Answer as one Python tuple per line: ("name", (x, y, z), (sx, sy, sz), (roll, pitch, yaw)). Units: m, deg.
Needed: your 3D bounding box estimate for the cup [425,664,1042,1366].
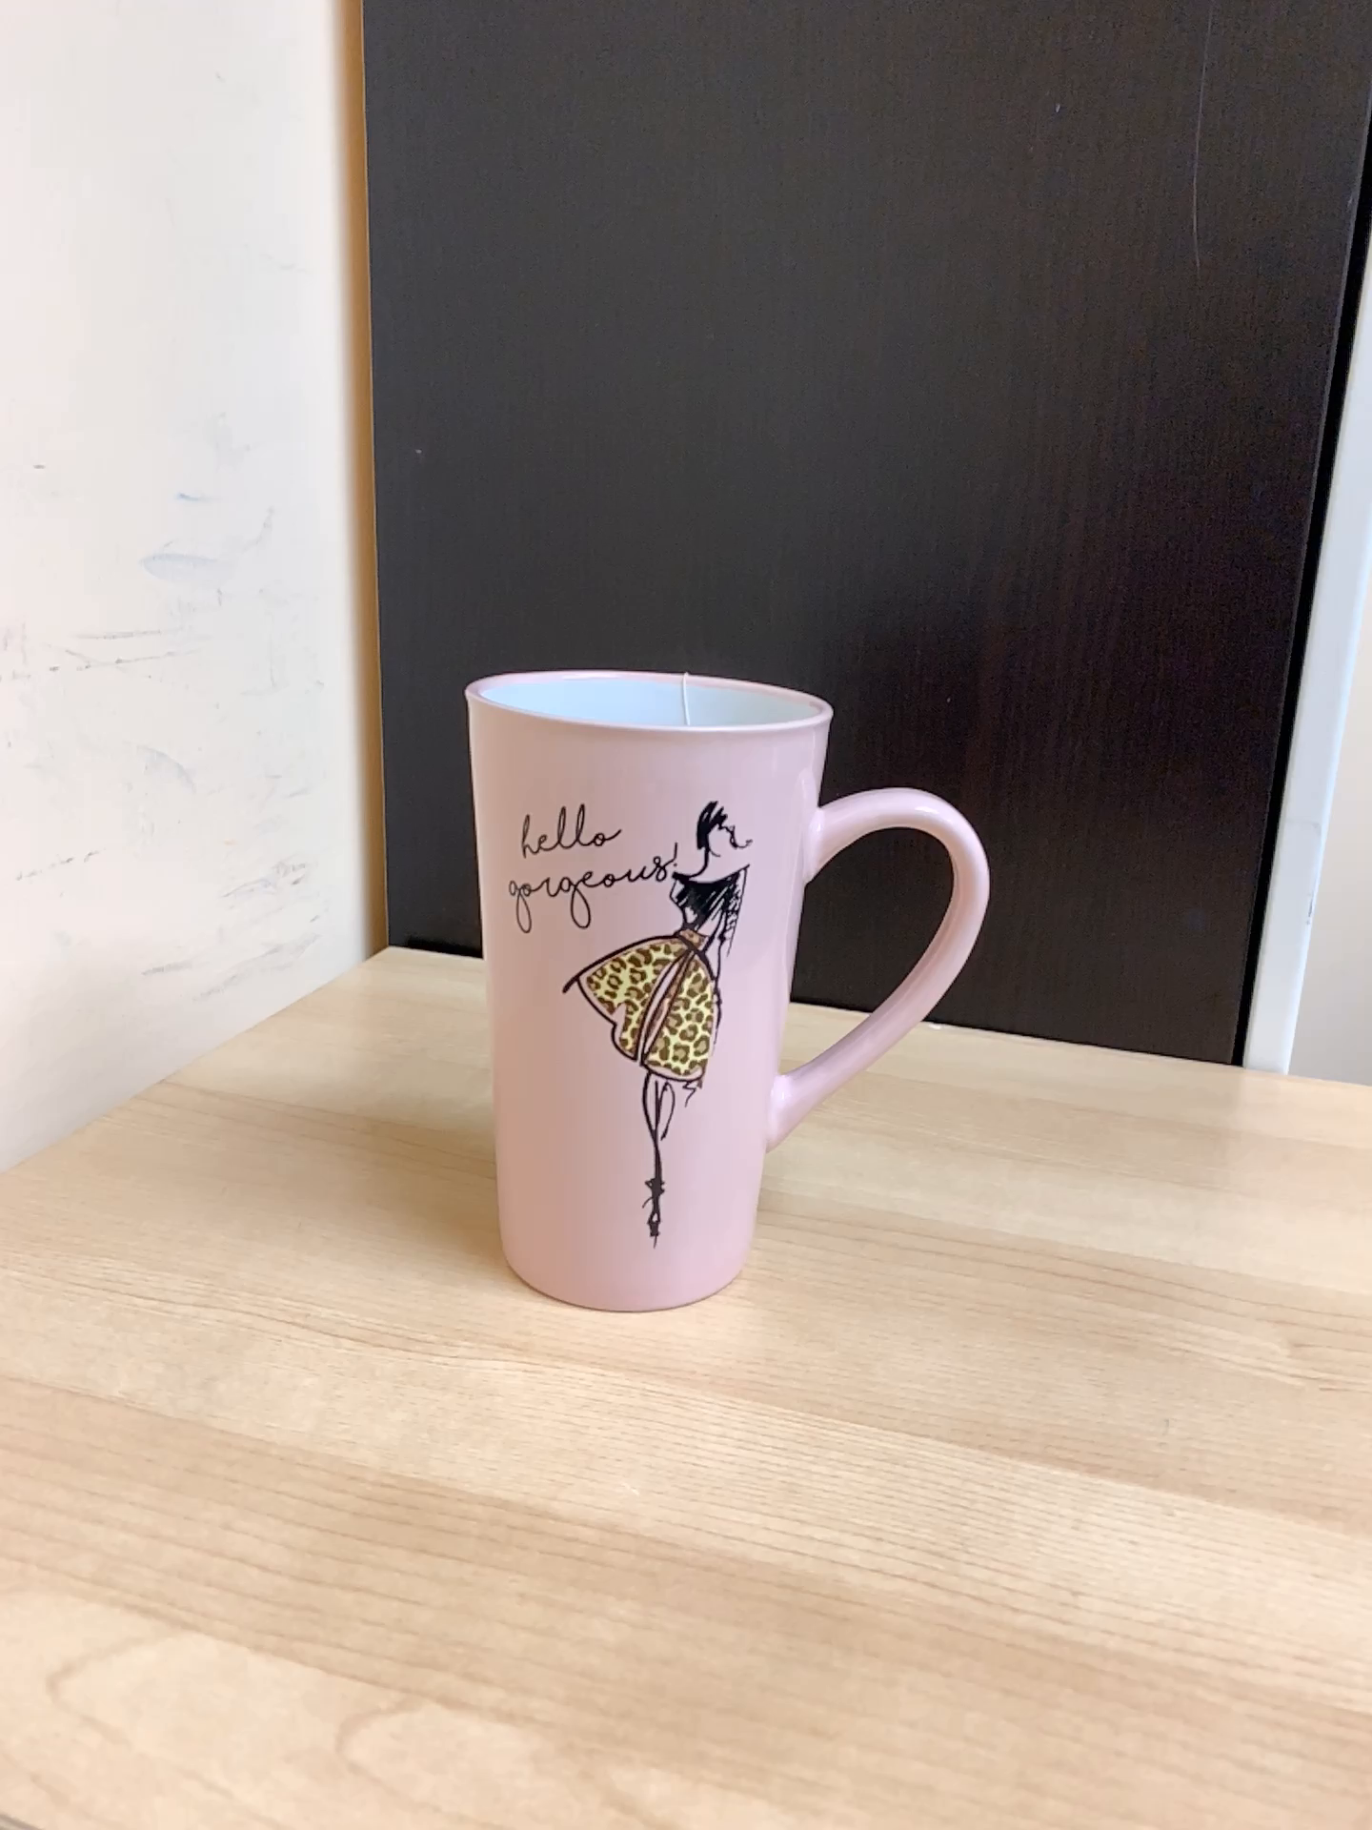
("cup", (0.010, 0.019, 0.368), (0.133, 0.151, 0.093), (3, 16, 4))
